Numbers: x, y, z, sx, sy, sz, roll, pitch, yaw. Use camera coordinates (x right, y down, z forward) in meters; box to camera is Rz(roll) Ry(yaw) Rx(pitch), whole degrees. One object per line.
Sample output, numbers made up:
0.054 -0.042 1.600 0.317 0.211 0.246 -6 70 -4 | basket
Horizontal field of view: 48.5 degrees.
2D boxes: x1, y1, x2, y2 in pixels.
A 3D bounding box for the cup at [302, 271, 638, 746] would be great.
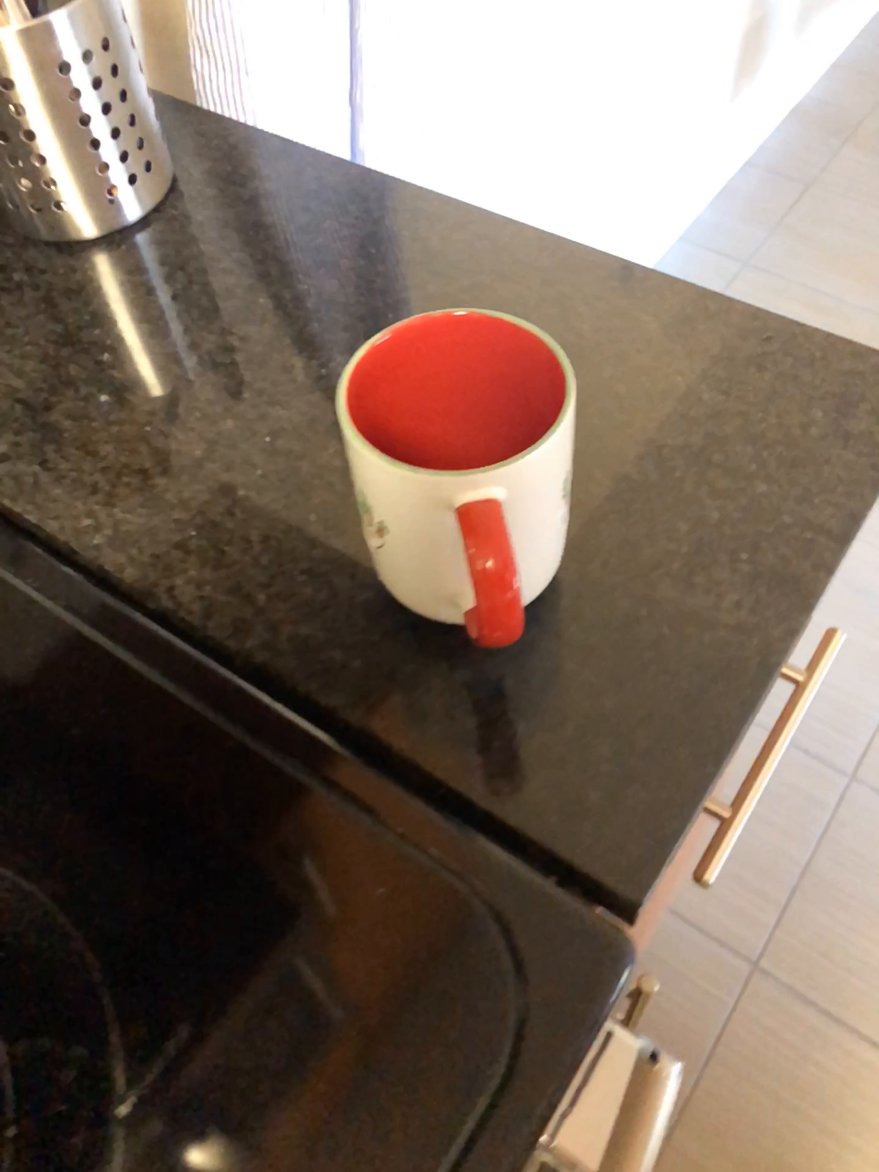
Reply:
0.009 -0.029 0.381 0.090 0.110 0.130 -12 55 -3 | cup
